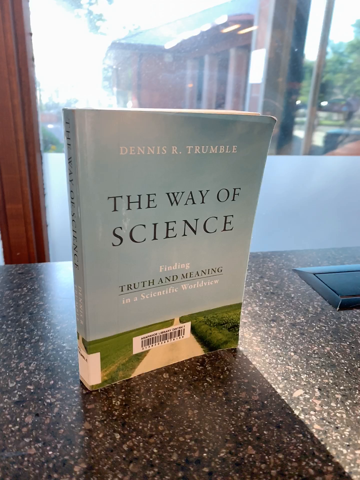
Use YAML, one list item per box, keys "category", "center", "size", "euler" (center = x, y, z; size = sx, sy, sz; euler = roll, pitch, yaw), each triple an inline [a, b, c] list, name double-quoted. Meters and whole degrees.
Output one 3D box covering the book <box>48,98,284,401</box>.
- category: "book"
  center: [-0.008, 0.005, 0.304]
  size: [0.167, 0.219, 0.040]
  euler: [-9, 23, -27]
